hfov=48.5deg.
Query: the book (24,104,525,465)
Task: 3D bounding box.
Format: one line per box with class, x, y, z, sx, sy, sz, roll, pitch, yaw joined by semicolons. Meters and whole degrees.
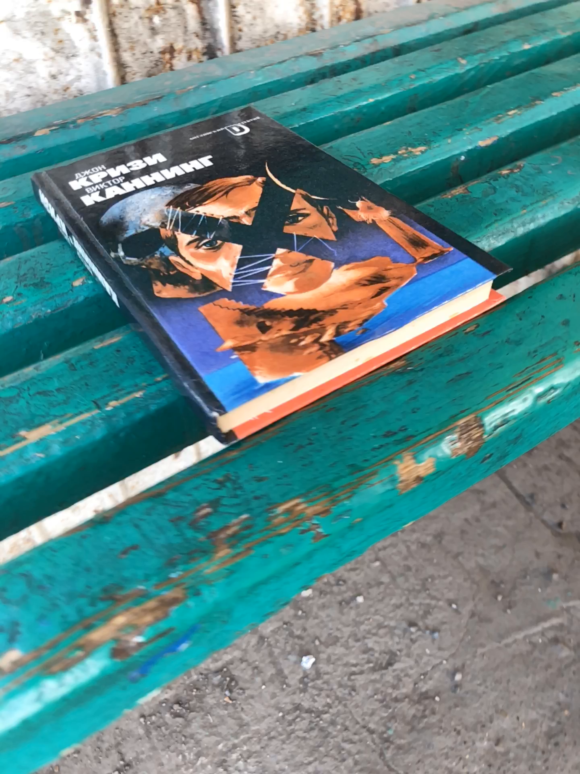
book;-0.023;-0.070;0.297;0.134;0.020;0.212;-26;49;-20
